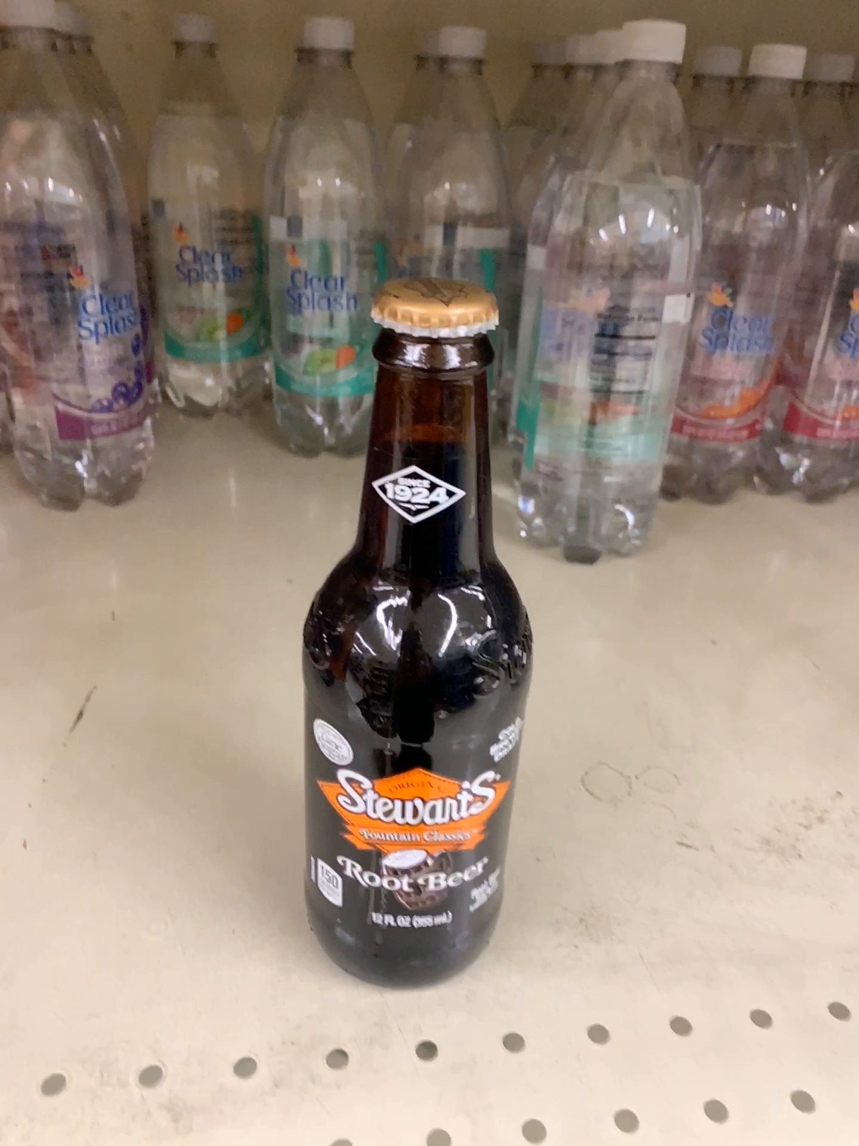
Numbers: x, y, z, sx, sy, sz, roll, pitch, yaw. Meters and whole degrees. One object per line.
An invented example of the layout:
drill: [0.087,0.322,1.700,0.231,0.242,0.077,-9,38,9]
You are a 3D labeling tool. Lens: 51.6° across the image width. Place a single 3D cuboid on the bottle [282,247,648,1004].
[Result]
bottle: [0.003,0.025,0.247,0.070,0.207,0.060,3,30,0]
